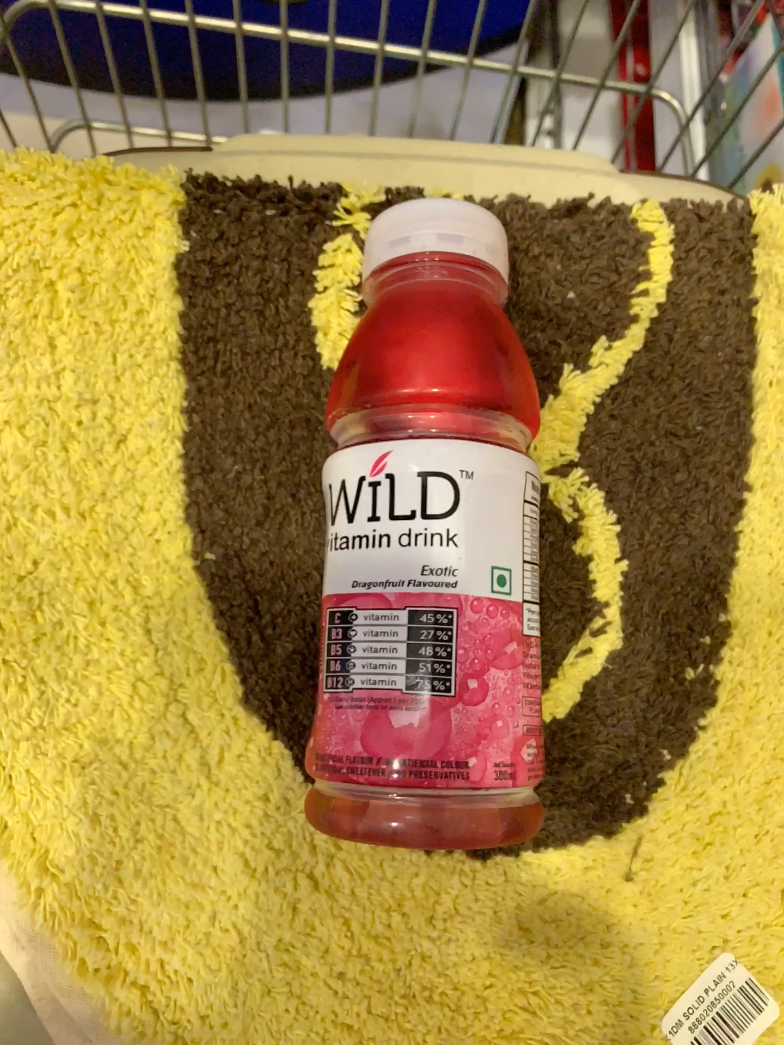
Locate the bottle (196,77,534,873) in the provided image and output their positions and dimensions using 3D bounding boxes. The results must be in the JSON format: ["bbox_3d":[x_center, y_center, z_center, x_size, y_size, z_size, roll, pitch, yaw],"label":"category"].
[{"bbox_3d":[0.000,-0.013,0.199,0.060,0.050,0.170,-3,75,18],"label":"bottle"}]
